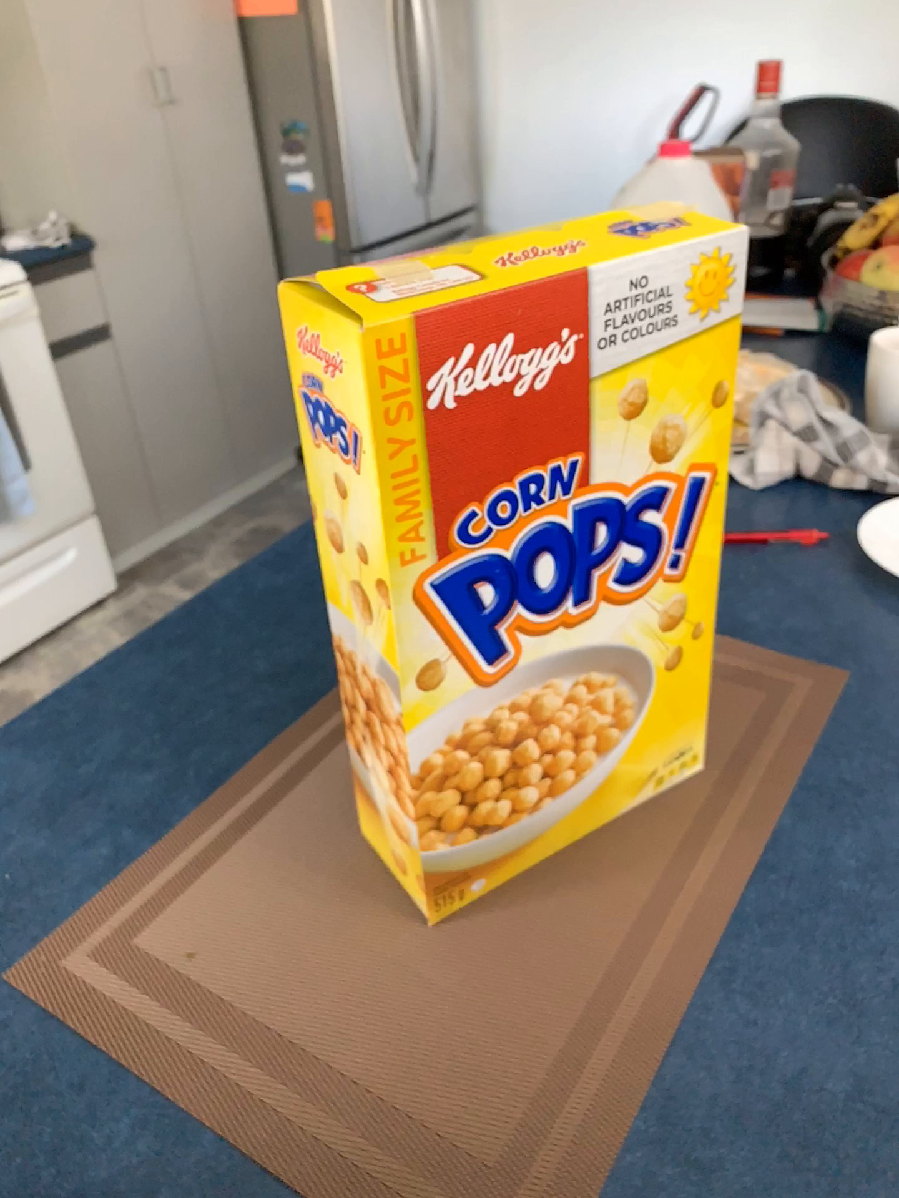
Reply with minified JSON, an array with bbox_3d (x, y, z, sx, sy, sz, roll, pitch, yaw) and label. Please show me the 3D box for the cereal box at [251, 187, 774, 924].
[{"bbox_3d":[0.042,-0.021,0.479,0.211,0.317,0.091,-22,35,-25],"label":"cereal box"}]
